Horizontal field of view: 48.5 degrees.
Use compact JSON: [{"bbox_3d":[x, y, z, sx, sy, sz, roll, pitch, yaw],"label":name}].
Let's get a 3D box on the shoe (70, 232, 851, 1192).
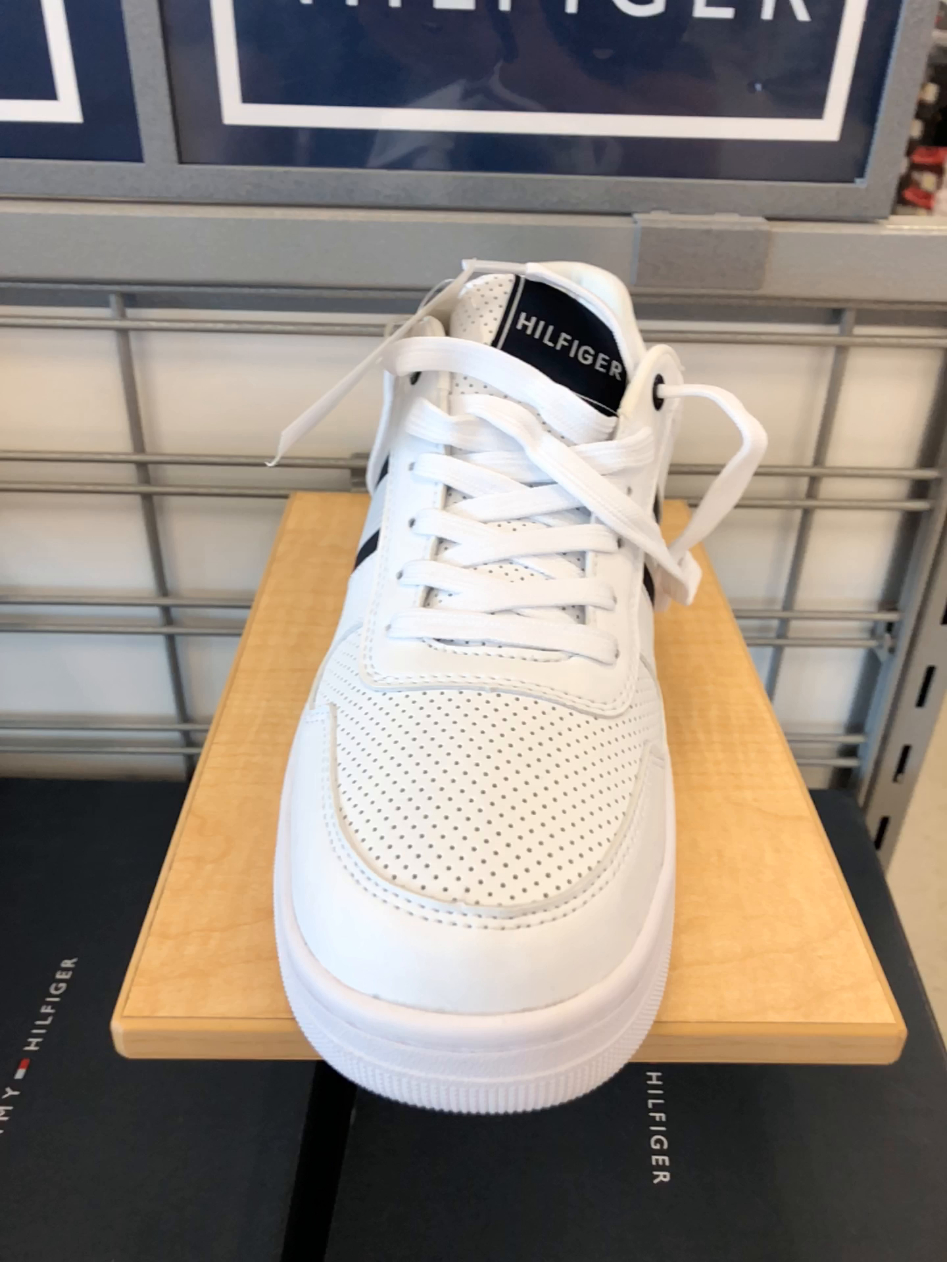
[{"bbox_3d":[0.009,-0.020,0.292,0.107,0.113,0.282,4,32,4],"label":"shoe"}]
